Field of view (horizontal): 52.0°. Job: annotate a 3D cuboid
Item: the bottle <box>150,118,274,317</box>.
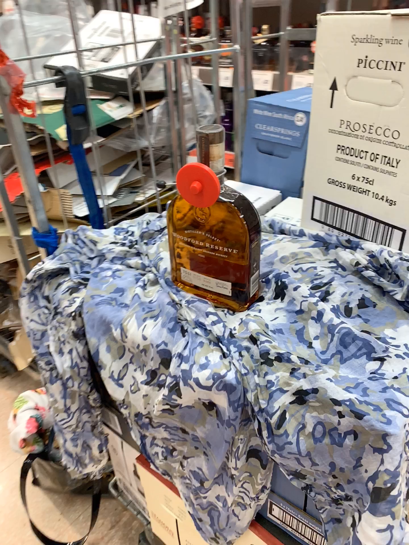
[{"bbox_3d":[0.008,-0.069,0.530,0.134,0.222,0.051,18,35,29],"label":"bottle"}]
